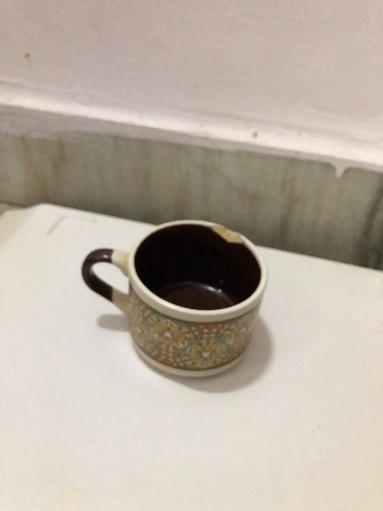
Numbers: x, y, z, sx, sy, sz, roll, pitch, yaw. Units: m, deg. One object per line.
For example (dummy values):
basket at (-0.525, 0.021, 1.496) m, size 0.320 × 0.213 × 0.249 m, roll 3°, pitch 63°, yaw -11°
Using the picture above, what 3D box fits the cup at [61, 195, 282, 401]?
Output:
cup at (-0.007, 0.020, 0.251) m, size 0.100 × 0.060 × 0.081 m, roll 12°, pitch 39°, yaw 7°
